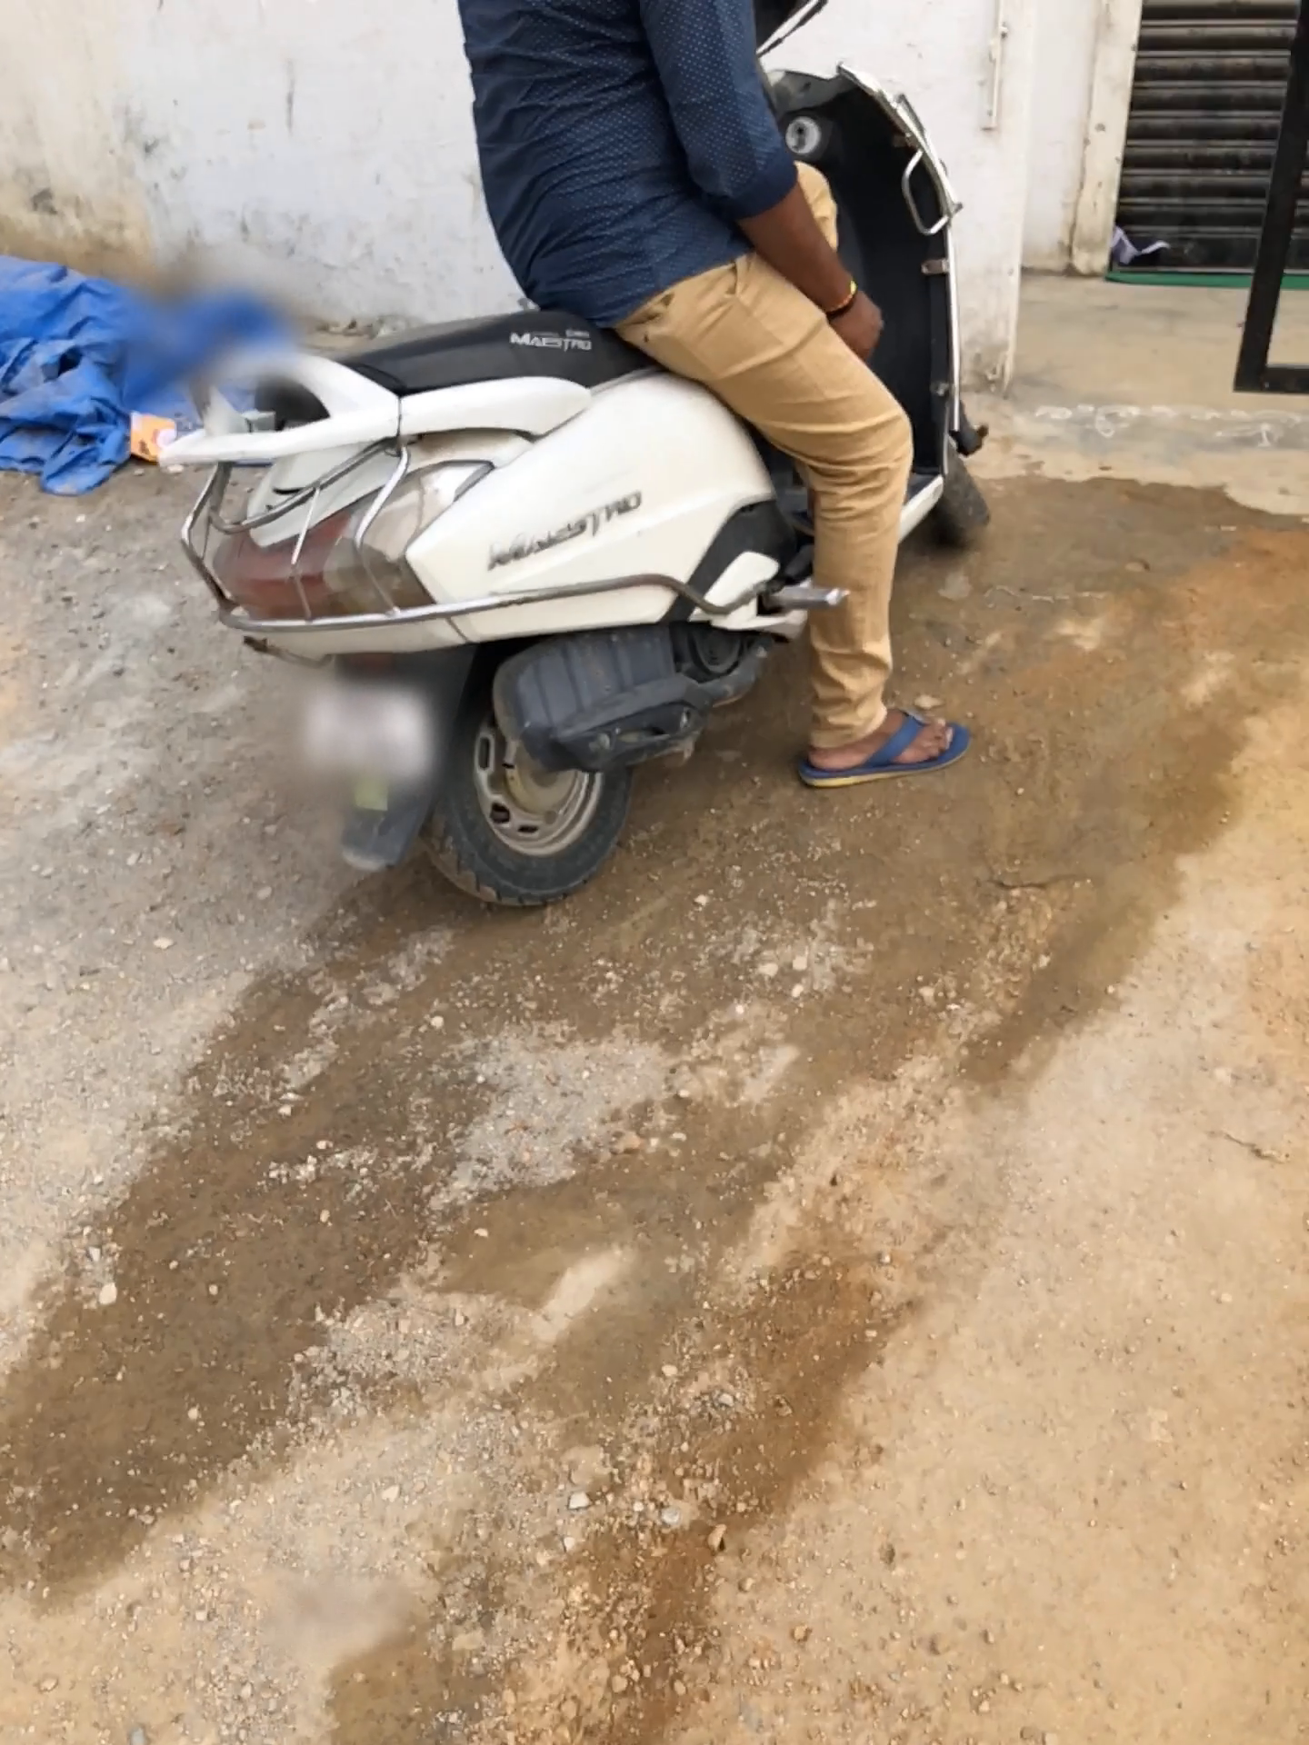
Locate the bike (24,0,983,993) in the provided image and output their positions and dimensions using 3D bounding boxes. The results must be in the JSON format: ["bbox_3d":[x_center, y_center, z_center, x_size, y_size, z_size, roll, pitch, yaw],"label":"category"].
[{"bbox_3d":[-0.064,-0.921,2.295,0.599,1.231,1.565,15,42,25],"label":"bike"}]
